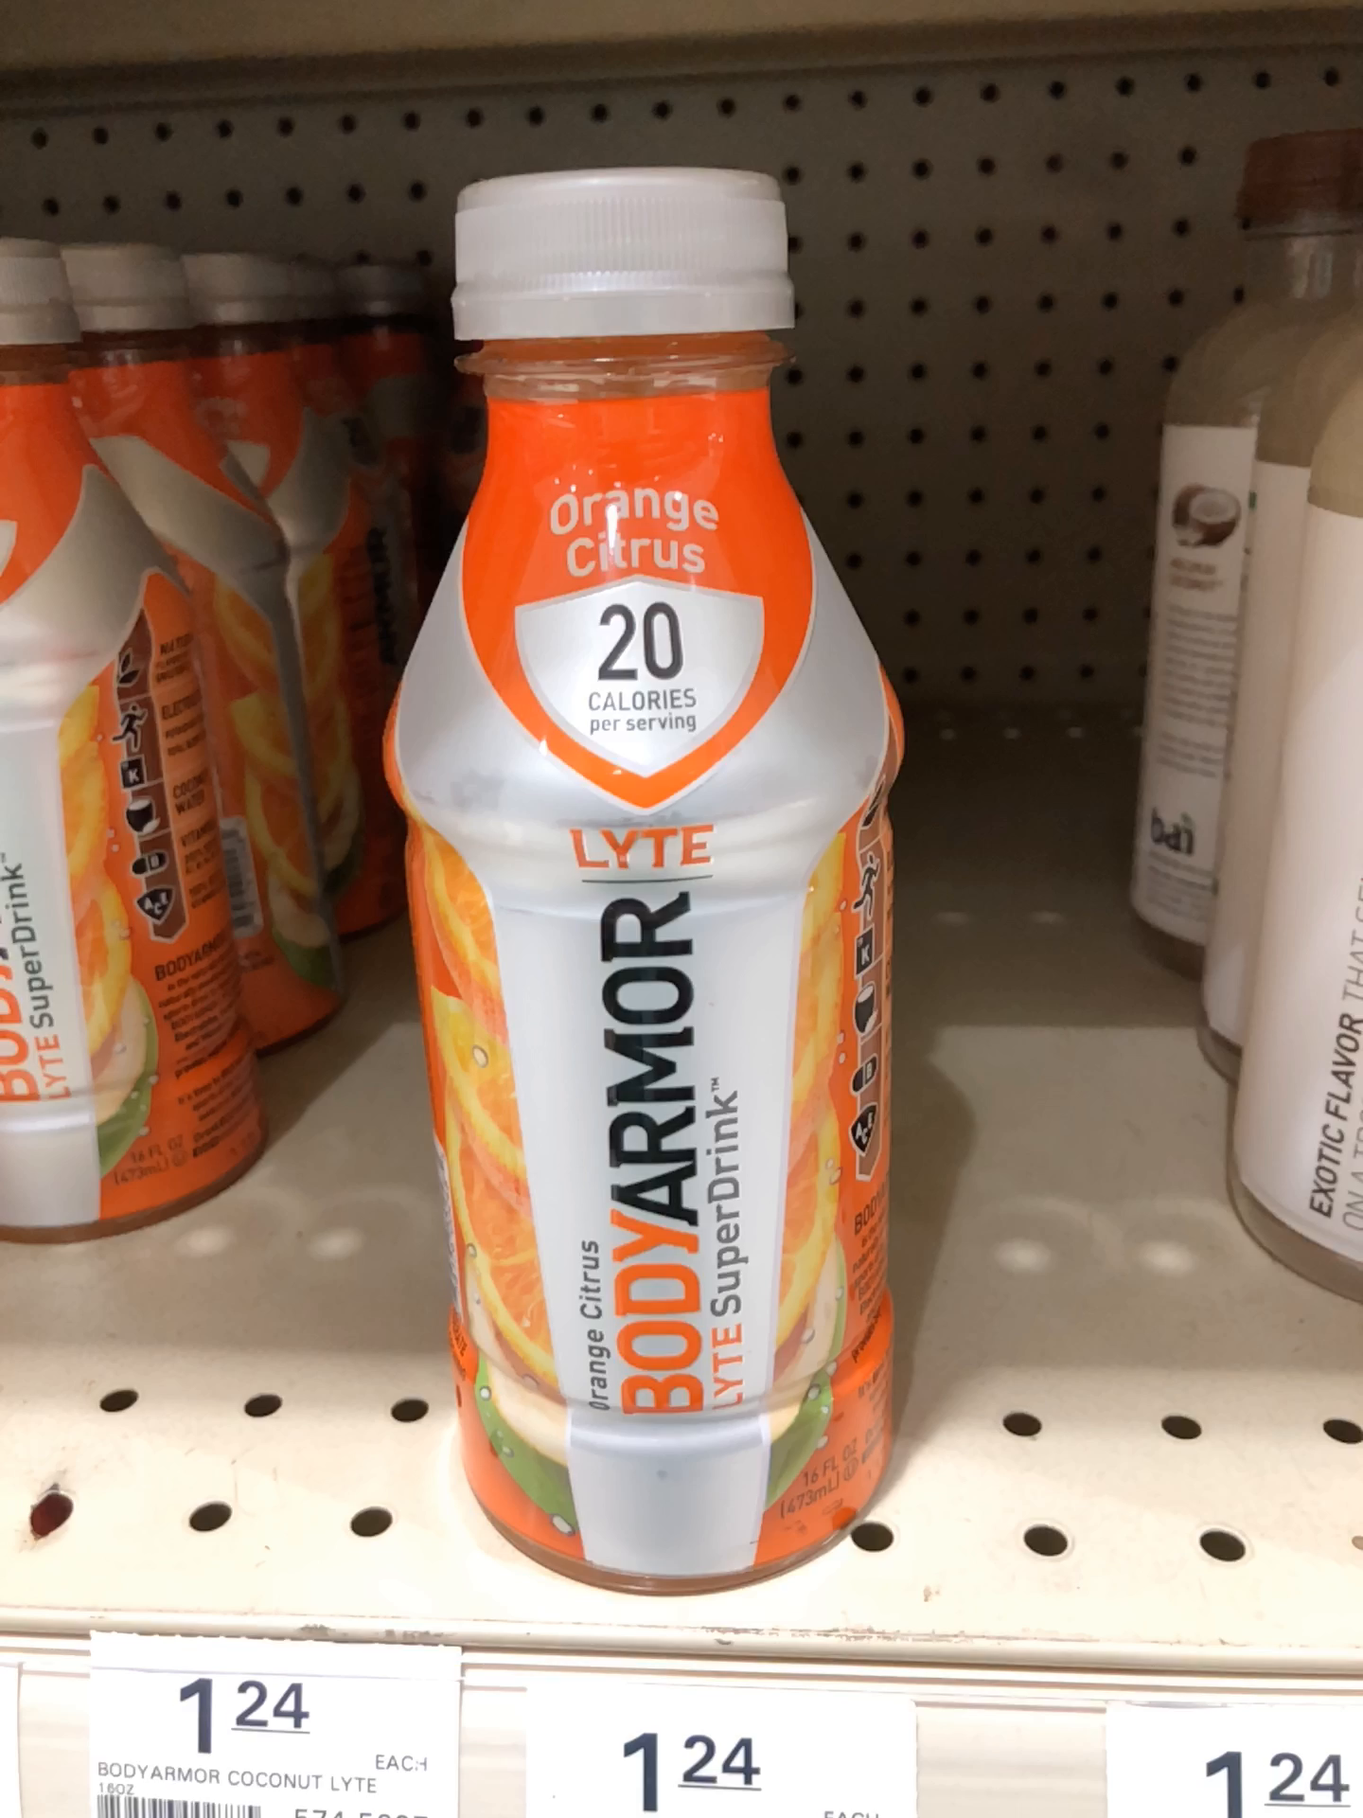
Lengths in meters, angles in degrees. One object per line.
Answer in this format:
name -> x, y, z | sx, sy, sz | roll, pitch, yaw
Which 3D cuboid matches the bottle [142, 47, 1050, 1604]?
bottle -> -0.003, -0.007, 0.206 | 0.080, 0.180, 0.080 | -2, 23, 1
